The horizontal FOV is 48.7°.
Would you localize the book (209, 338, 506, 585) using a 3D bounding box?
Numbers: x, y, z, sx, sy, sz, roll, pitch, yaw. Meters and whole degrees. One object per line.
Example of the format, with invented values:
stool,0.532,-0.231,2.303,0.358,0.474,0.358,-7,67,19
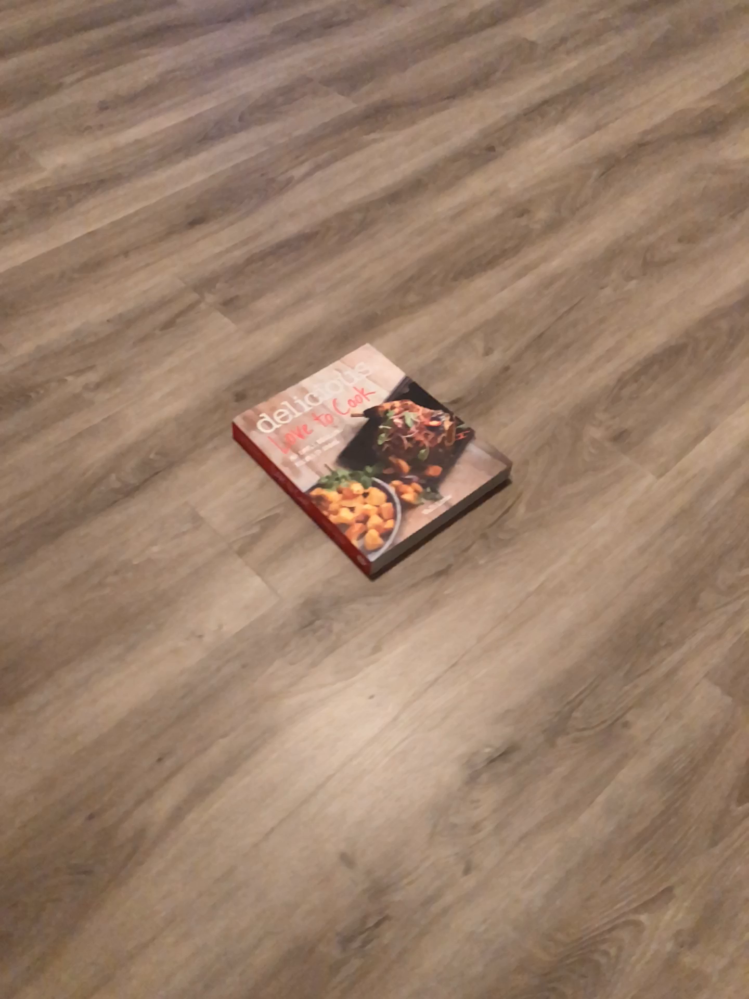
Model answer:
book,-0.024,-0.061,0.998,0.222,0.030,0.290,-33,59,-23
